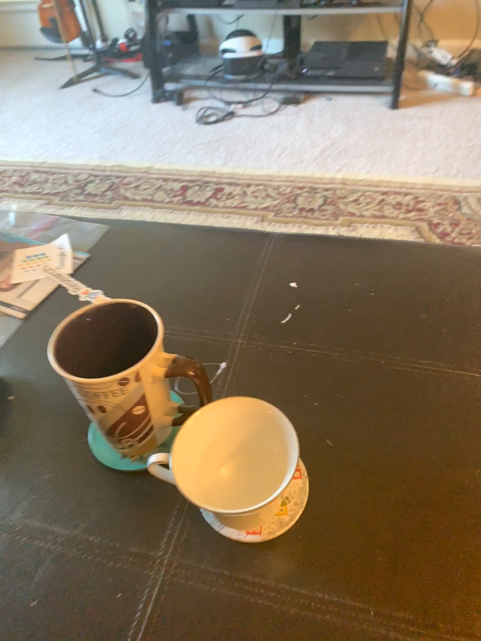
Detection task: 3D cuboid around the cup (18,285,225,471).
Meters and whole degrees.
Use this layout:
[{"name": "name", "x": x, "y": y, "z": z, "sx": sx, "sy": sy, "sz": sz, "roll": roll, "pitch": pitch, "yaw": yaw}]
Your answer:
[{"name": "cup", "x": -0.088, "y": 0.046, "z": 0.408, "sx": 0.120, "sy": 0.109, "sz": 0.080, "roll": 9, "pitch": 46, "yaw": 16}]

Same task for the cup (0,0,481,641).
[{"name": "cup", "x": -0.088, "y": 0.046, "z": 0.408, "sx": 39.306, "sy": 9.441, "sz": 0.298, "roll": 9, "pitch": 46, "yaw": 16}]

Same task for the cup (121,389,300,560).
[{"name": "cup", "x": -0.013, "y": 0.108, "z": 0.357, "sx": 0.110, "sy": 0.070, "sz": 0.091, "roll": 0, "pitch": 44, "yaw": 7}]

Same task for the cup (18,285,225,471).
[{"name": "cup", "x": -0.088, "y": 0.046, "z": 0.408, "sx": 0.120, "sy": 0.109, "sz": 0.080, "roll": 9, "pitch": 46, "yaw": 16}]
